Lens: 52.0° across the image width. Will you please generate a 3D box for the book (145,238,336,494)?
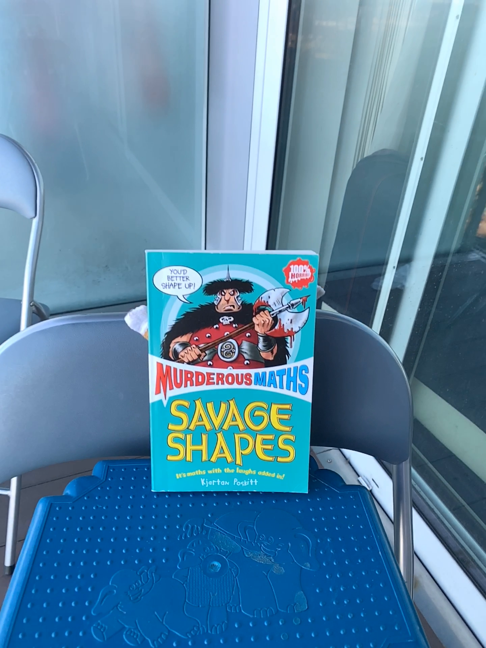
[{"bbox_3d":[-0.006,0.035,0.384,0.133,0.193,0.029,1,13,-4],"label":"book"}]
